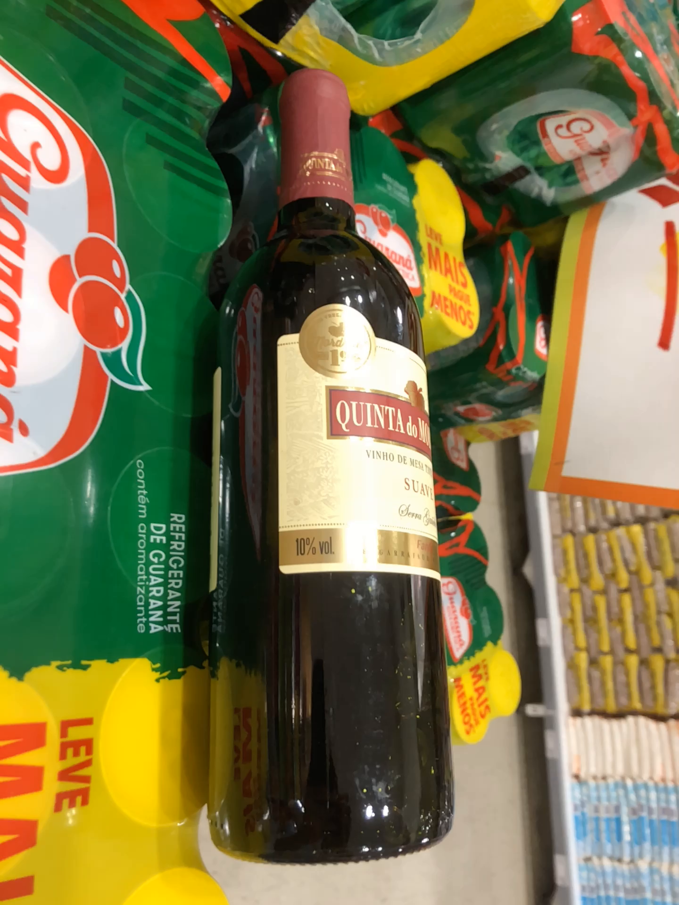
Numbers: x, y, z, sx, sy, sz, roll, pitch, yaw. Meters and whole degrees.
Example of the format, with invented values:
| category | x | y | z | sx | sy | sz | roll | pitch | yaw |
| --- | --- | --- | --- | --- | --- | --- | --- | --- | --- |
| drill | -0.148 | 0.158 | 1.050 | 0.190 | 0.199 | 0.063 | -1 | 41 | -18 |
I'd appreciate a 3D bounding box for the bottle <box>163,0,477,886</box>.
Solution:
| category | x | y | z | sx | sy | sz | roll | pitch | yaw |
| --- | --- | --- | --- | --- | --- | --- | --- | --- | --- |
| bottle | 0.000 | -0.013 | 0.265 | 0.080 | 0.070 | 0.270 | 34 | 53 | -64 |
